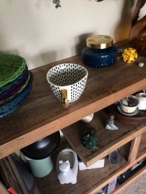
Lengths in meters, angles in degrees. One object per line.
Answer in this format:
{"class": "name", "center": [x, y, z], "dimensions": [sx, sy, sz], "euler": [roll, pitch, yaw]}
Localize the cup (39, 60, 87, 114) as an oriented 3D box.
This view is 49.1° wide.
{"class": "cup", "center": [-0.015, -0.032, 0.425], "dimensions": [0.100, 0.079, 0.131], "euler": [1, 39, 8]}
